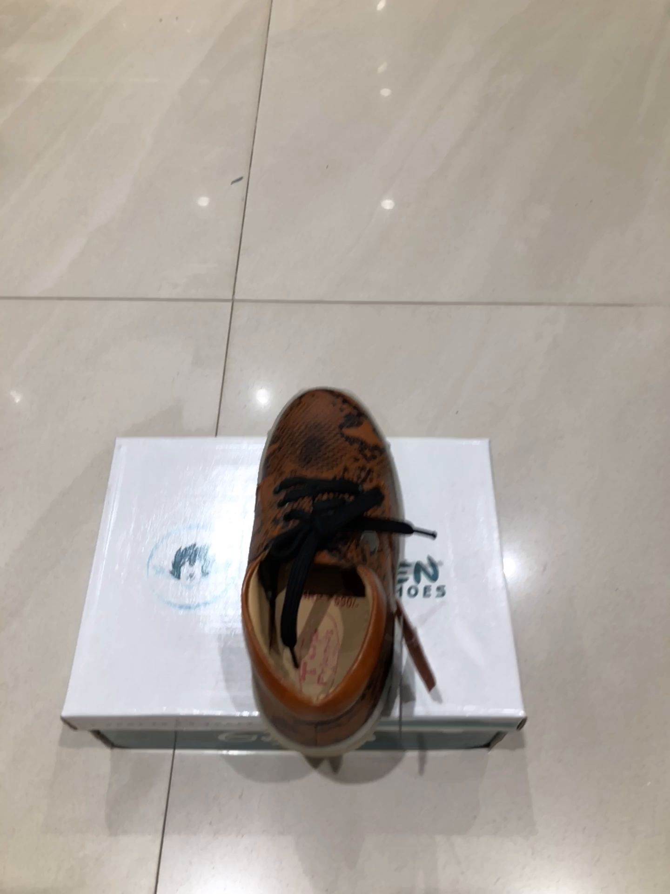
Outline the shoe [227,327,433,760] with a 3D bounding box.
[{"bbox_3d":[0.000,0.044,0.379,0.080,0.090,0.201,1,57,1],"label":"shoe"}]
